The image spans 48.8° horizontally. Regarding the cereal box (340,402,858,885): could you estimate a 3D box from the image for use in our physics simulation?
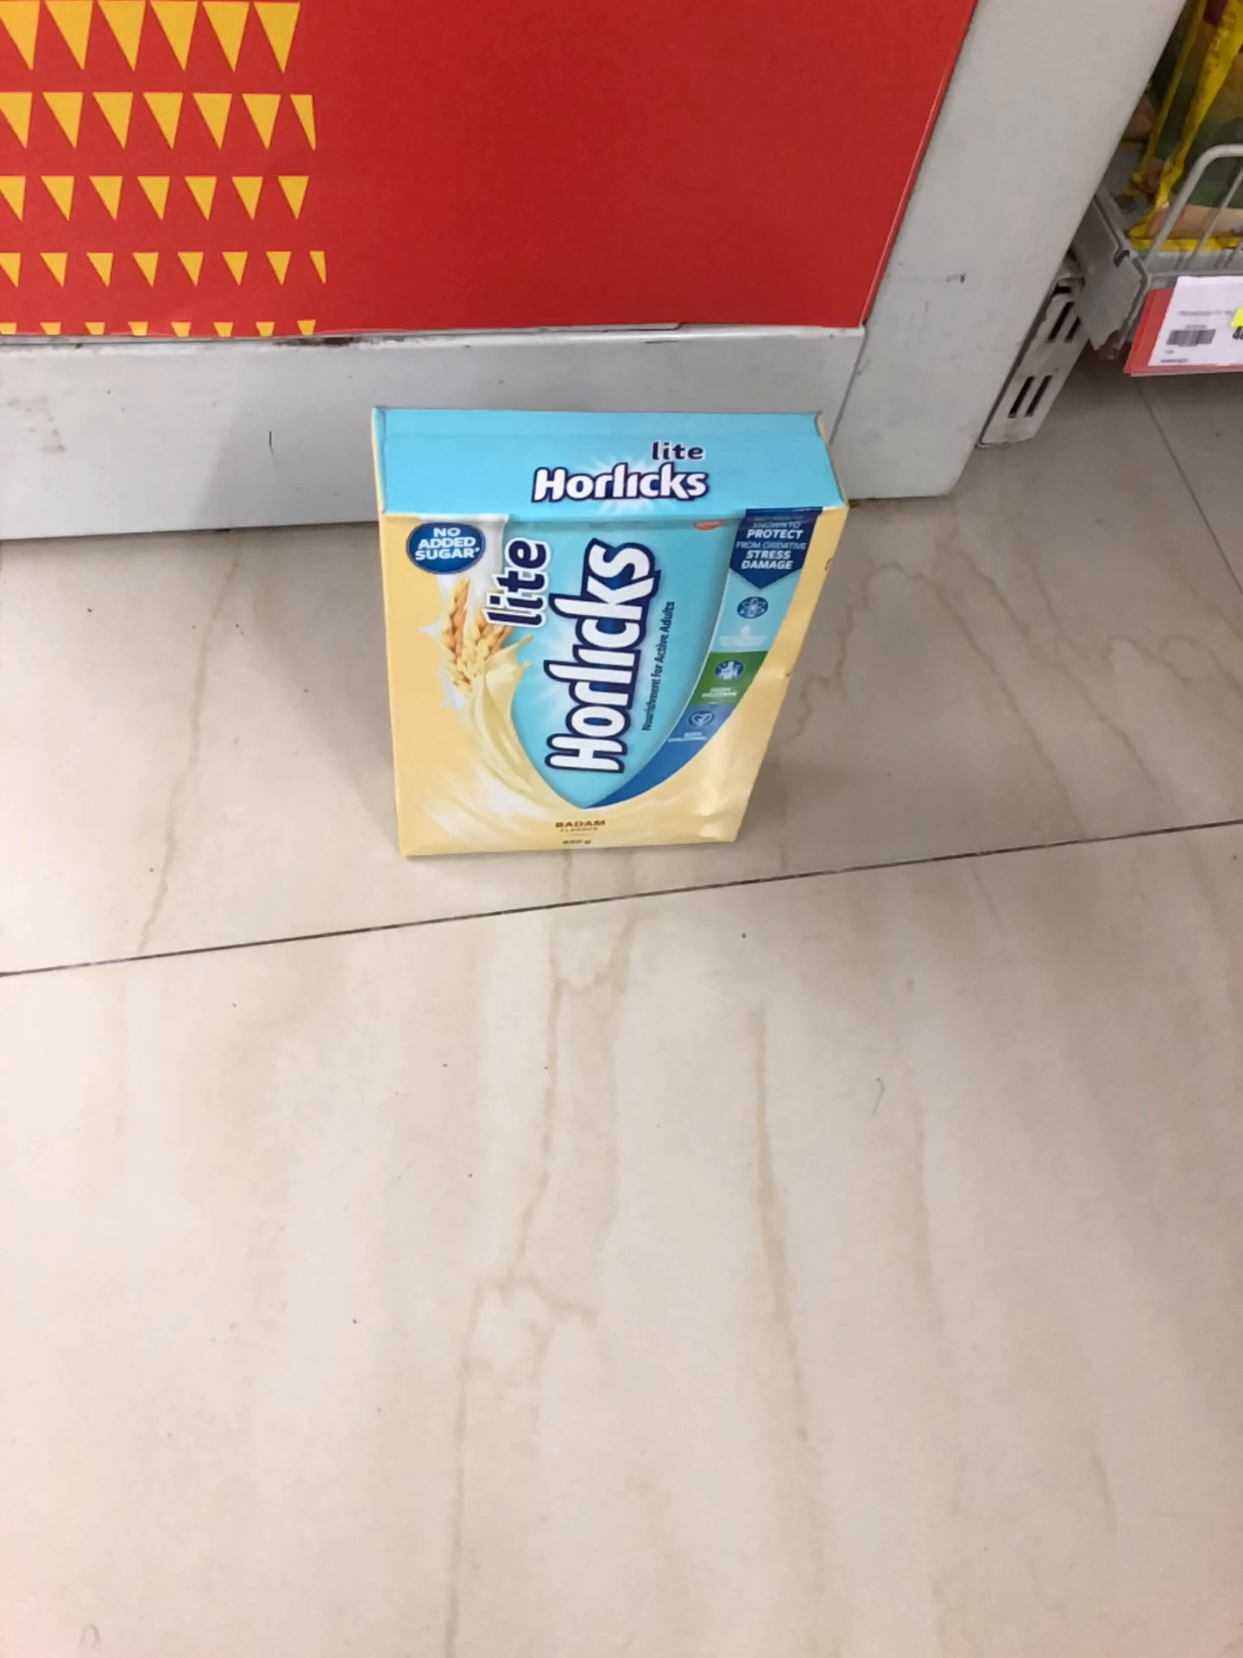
[{"bbox_3d":[-0.018,-0.056,0.485,0.150,0.189,0.050,-3,56,-11],"label":"cereal box"}]
